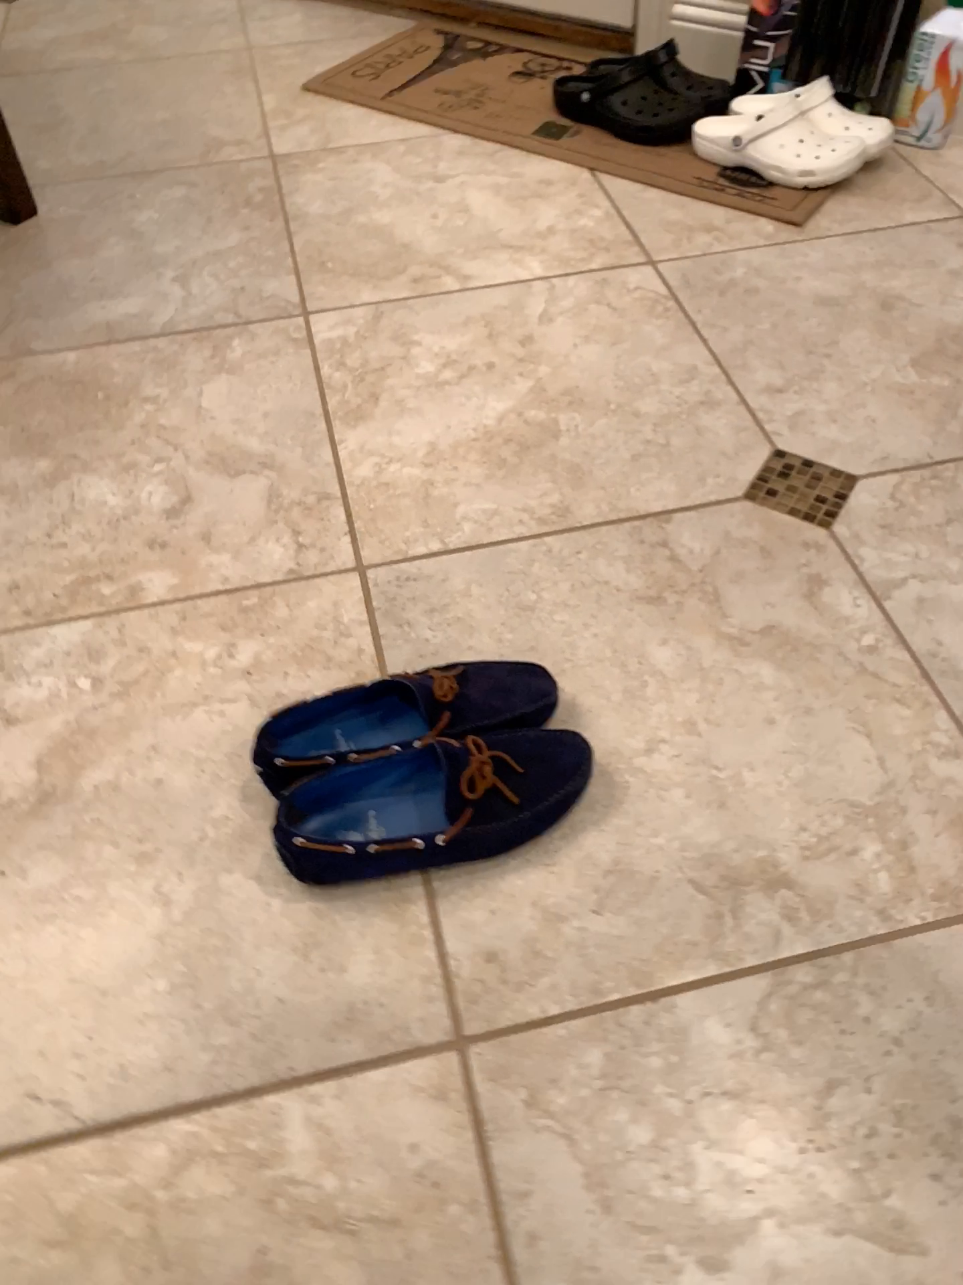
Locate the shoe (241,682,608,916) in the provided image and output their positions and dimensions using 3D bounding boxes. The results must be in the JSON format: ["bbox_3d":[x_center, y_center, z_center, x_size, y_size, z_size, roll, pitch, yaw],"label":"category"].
[{"bbox_3d":[-0.047,0.128,0.827,0.281,0.074,0.099,-14,51,-10],"label":"shoe"}]

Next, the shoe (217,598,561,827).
[{"bbox_3d":[-0.079,0.059,0.883,0.281,0.074,0.099,-18,51,-13],"label":"shoe"}]
